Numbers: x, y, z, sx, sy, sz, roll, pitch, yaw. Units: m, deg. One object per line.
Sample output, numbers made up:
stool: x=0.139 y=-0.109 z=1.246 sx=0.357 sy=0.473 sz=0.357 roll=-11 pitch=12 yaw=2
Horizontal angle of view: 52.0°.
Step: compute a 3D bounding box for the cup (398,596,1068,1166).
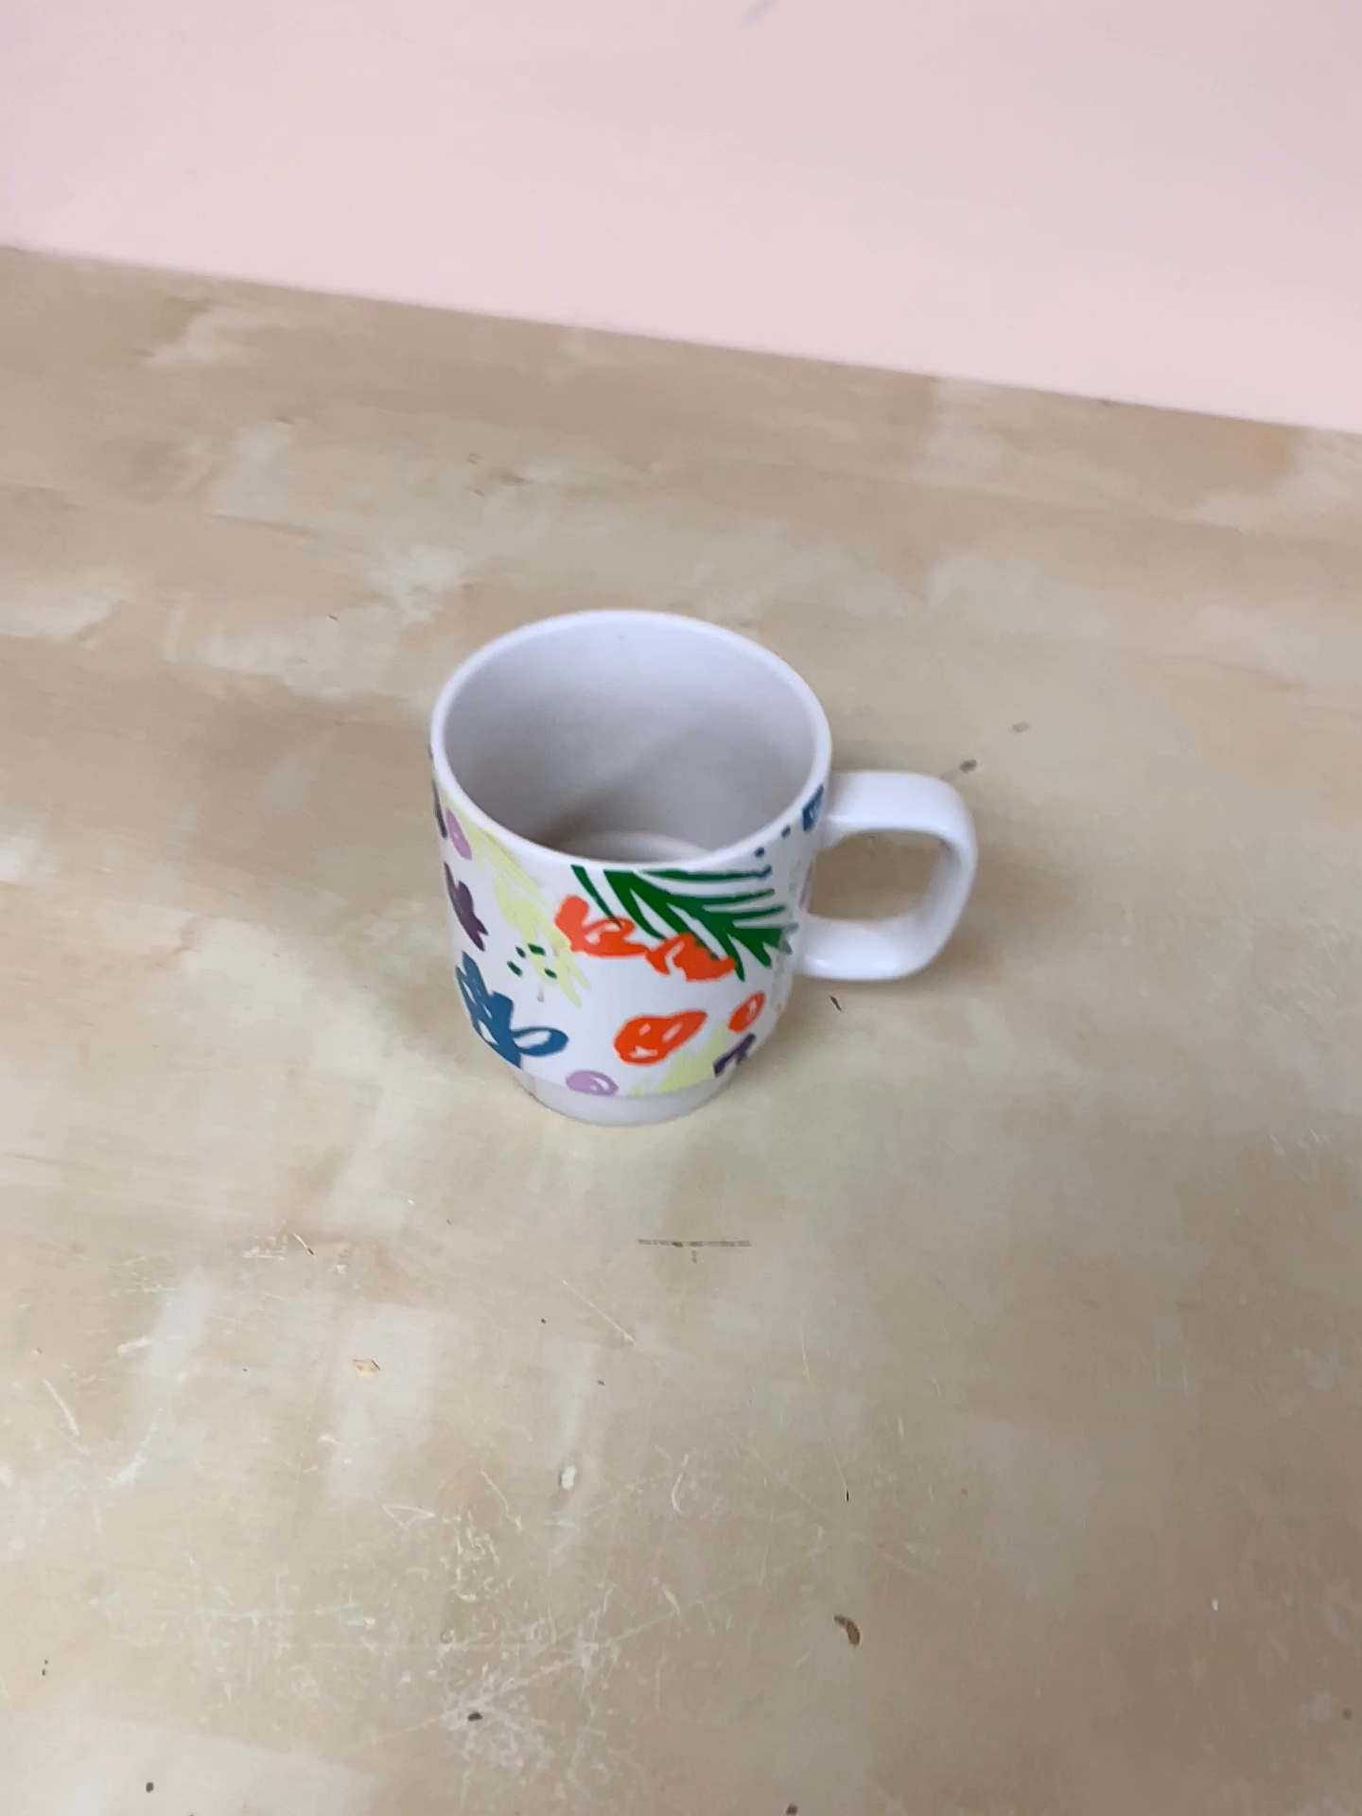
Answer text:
cup: x=0.009 y=-0.005 z=0.328 sx=0.127 sy=0.095 sz=0.082 roll=4 pitch=48 yaw=-1
